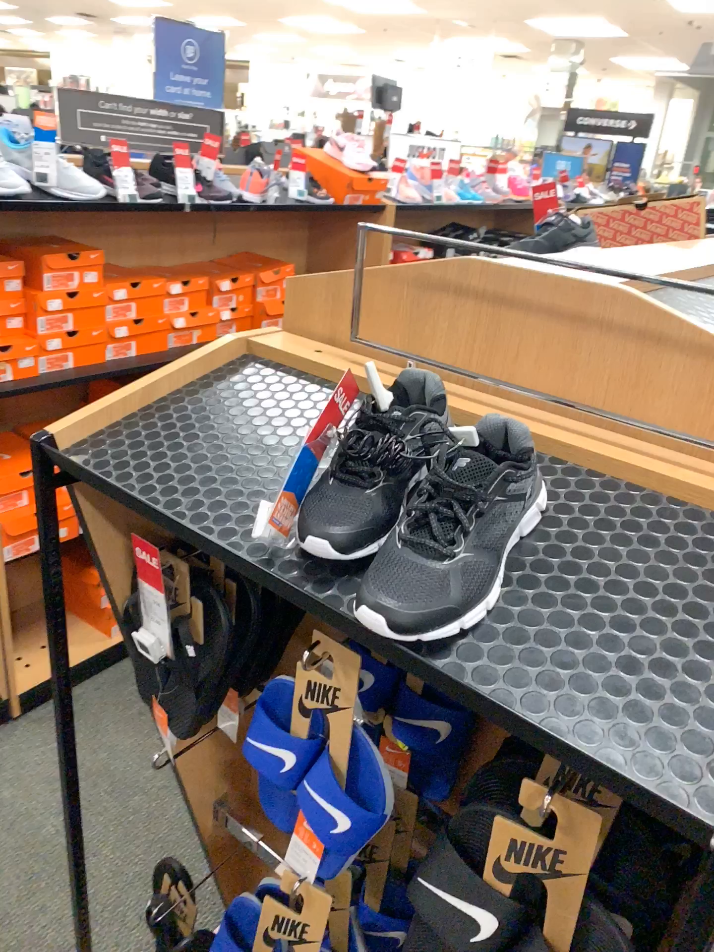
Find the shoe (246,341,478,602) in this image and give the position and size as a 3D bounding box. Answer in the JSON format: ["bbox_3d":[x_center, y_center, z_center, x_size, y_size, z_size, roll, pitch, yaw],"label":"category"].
[{"bbox_3d":[0.016,-0.017,0.673,0.100,0.089,0.245,18,46,24],"label":"shoe"}]

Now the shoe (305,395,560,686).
[{"bbox_3d":[0.076,0.037,0.606,0.100,0.089,0.245,10,40,32],"label":"shoe"}]
